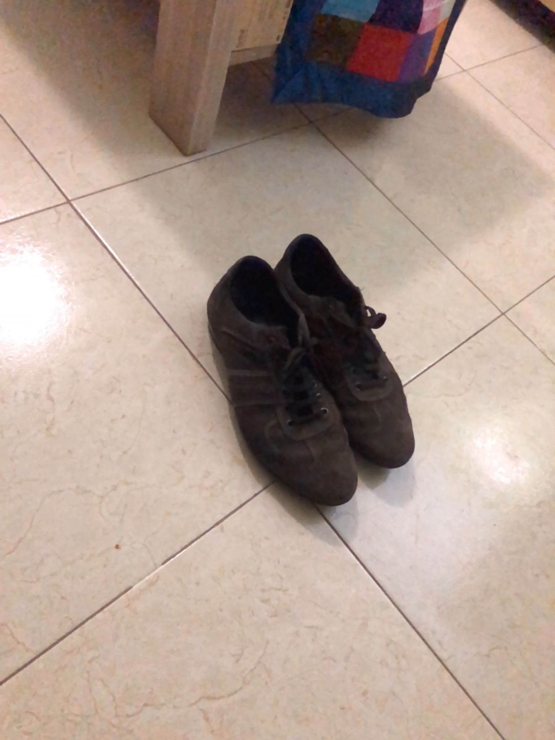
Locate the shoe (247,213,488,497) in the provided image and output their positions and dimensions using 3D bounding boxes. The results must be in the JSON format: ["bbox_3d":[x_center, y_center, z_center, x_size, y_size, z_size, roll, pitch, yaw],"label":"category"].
[{"bbox_3d":[0.089,-0.026,0.709,0.110,0.110,0.300,-17,66,-27],"label":"shoe"}]

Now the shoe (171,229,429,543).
[{"bbox_3d":[0.009,0.007,0.655,0.120,0.110,0.300,-18,66,-27],"label":"shoe"}]
